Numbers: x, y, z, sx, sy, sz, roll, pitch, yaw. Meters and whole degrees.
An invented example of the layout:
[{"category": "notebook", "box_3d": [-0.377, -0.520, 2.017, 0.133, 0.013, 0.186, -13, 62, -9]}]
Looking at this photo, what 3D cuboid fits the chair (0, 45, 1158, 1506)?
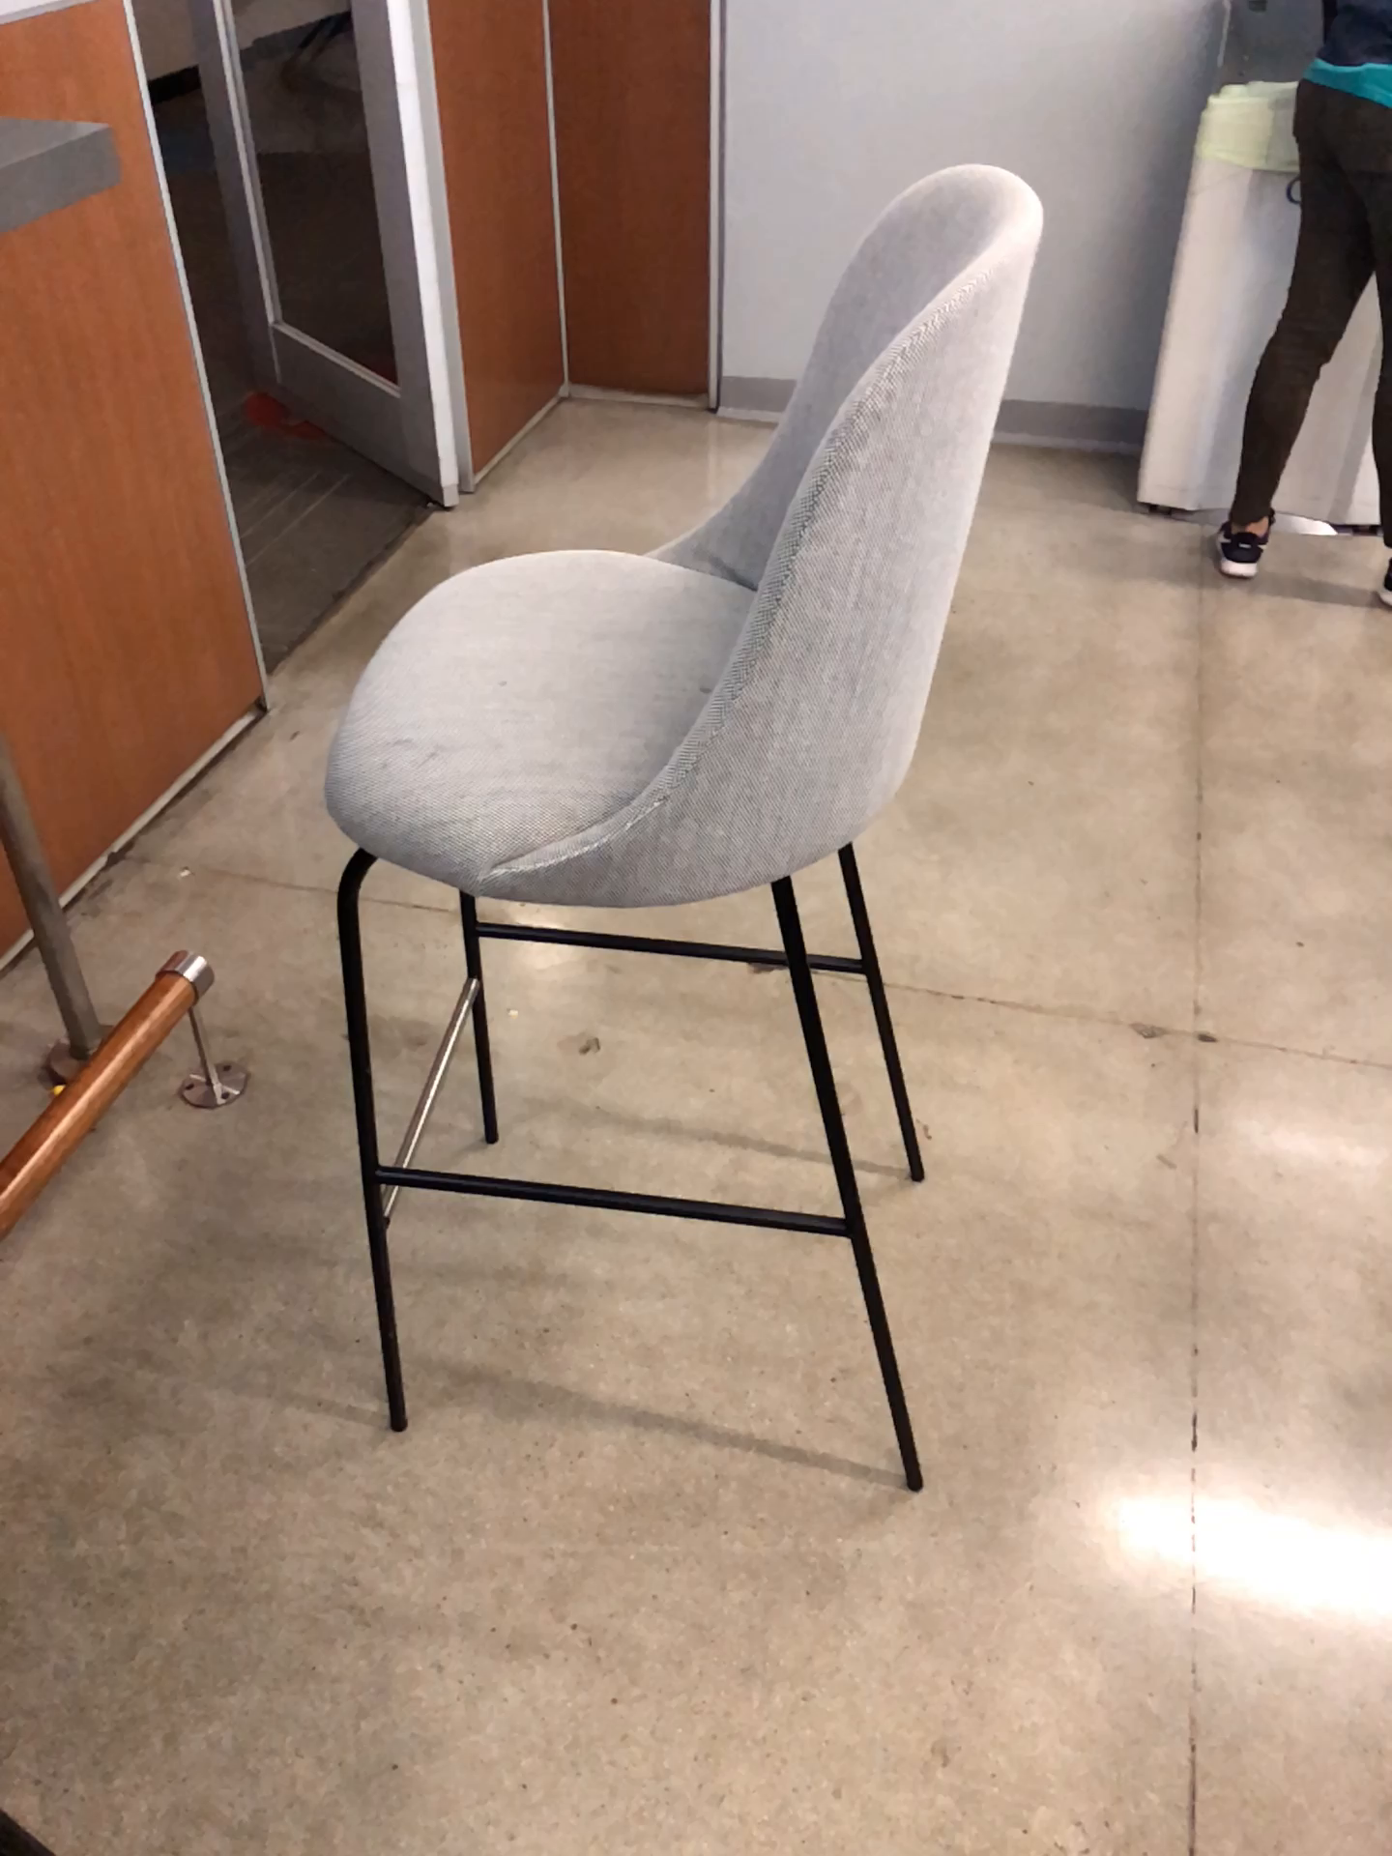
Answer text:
[{"category": "chair", "box_3d": [-0.057, -0.069, 1.285, 0.620, 1.094, 0.462, 5, 38, 6]}]
